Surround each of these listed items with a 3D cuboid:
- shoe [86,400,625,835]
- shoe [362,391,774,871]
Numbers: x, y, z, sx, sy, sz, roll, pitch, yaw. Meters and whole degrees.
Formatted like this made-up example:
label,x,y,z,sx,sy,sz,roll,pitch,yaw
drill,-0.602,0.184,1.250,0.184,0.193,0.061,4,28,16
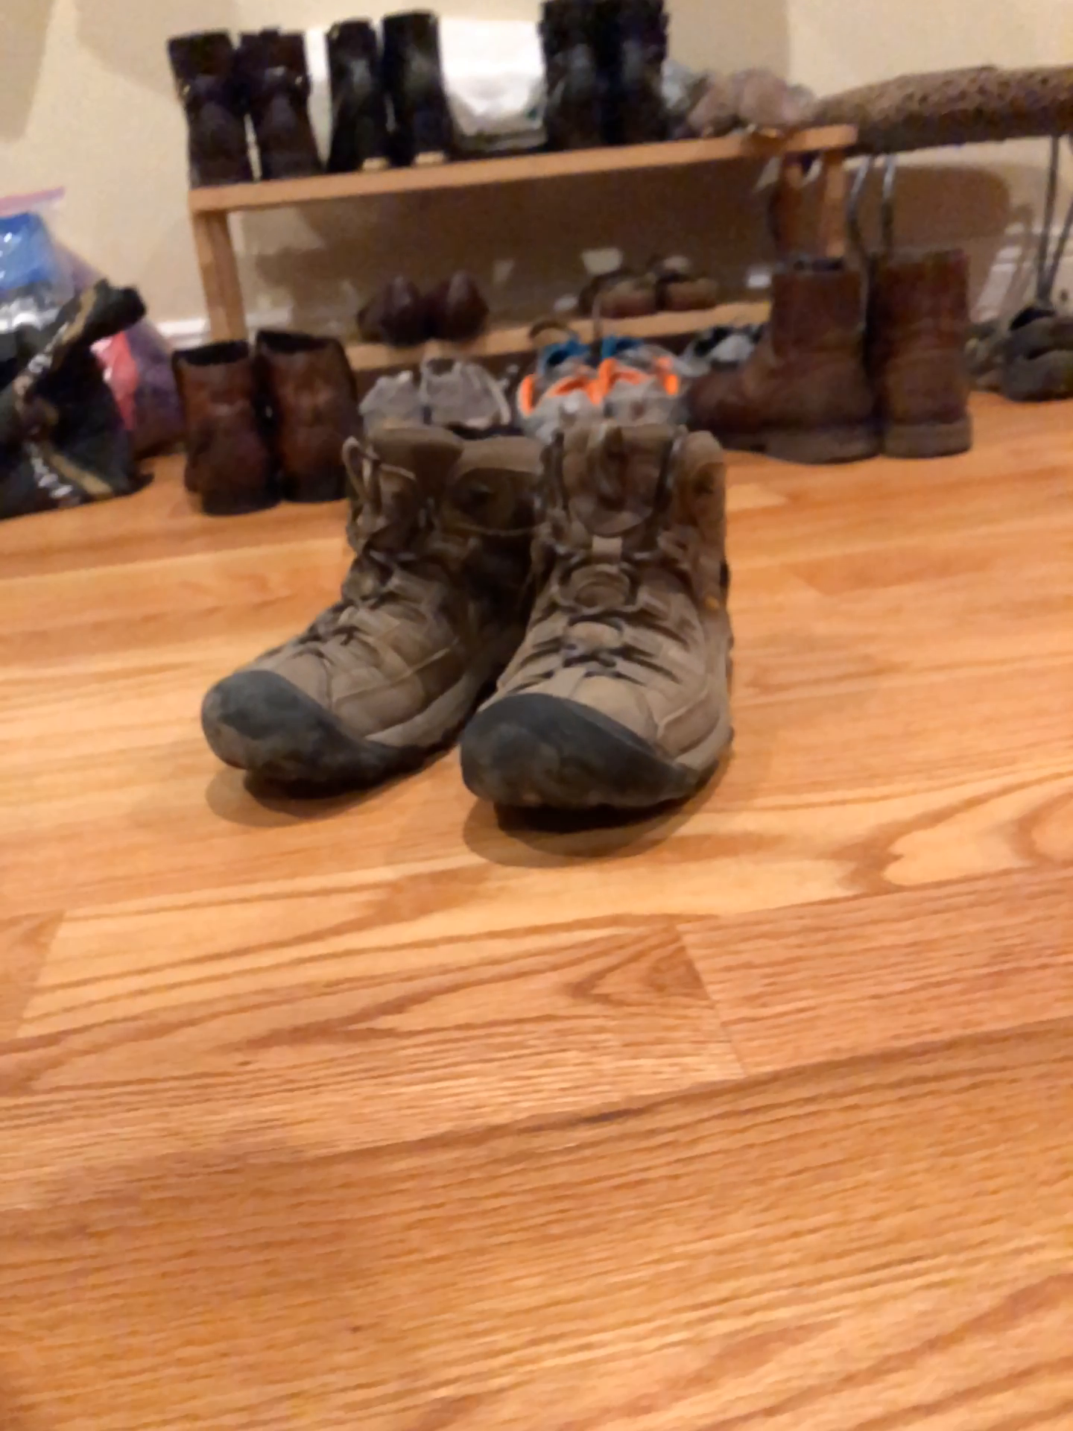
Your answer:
label,x,y,z,sx,sy,sz,roll,pitch,yaw
shoe,-0.071,-0.068,0.606,0.108,0.139,0.260,9,26,33
shoe,0.036,-0.058,0.554,0.107,0.139,0.261,2,23,20
